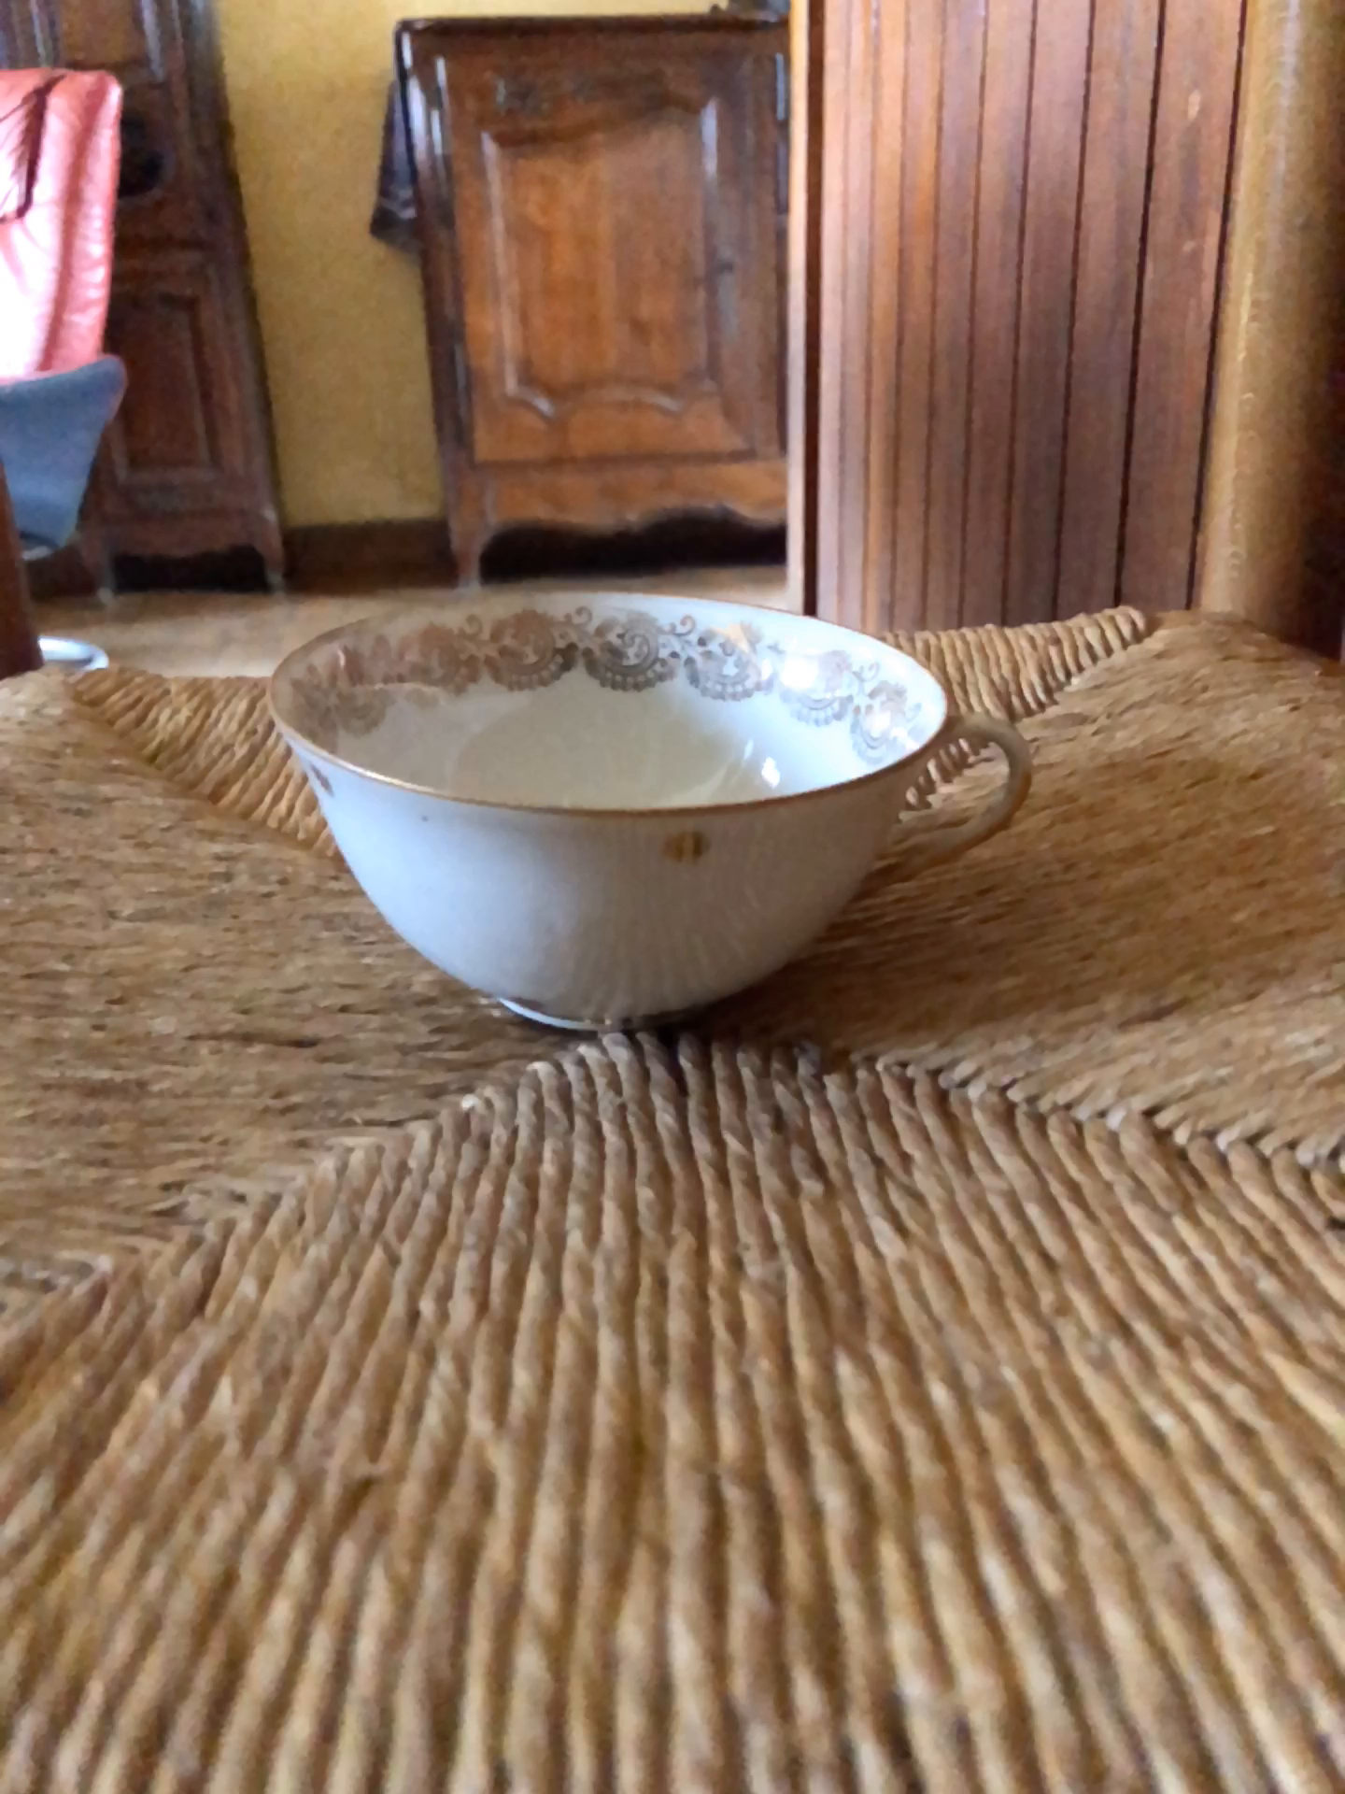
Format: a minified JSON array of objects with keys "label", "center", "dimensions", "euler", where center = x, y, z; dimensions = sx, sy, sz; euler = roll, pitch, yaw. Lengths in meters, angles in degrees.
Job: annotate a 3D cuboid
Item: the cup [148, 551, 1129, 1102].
[{"label":"cup","center":[-0.007,-0.021,0.257],"dimensions":[0.130,0.050,0.111],"euler":[-4,24,-4]}]
